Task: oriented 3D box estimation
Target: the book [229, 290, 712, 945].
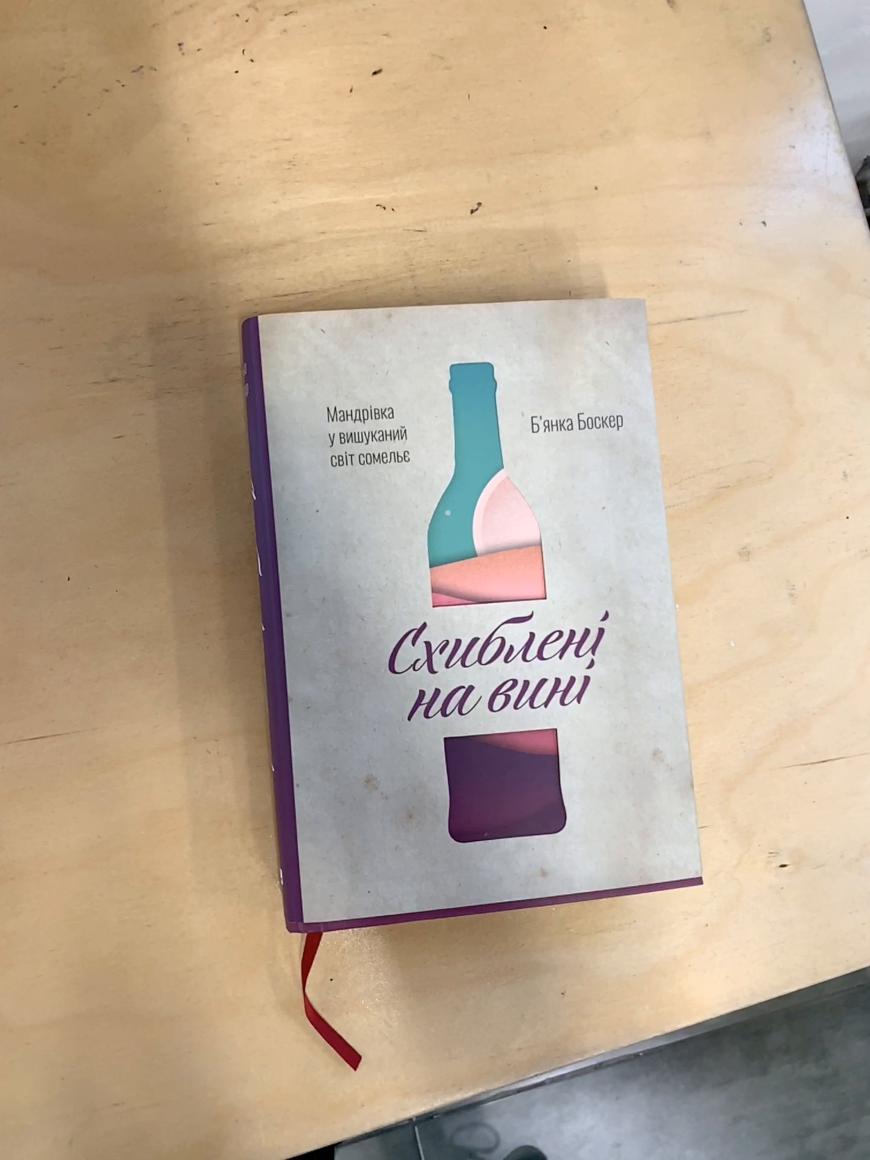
[{"bbox_3d":[0.010,0.009,0.332,0.150,0.050,0.214,-4,86,-7],"label":"book"}]
